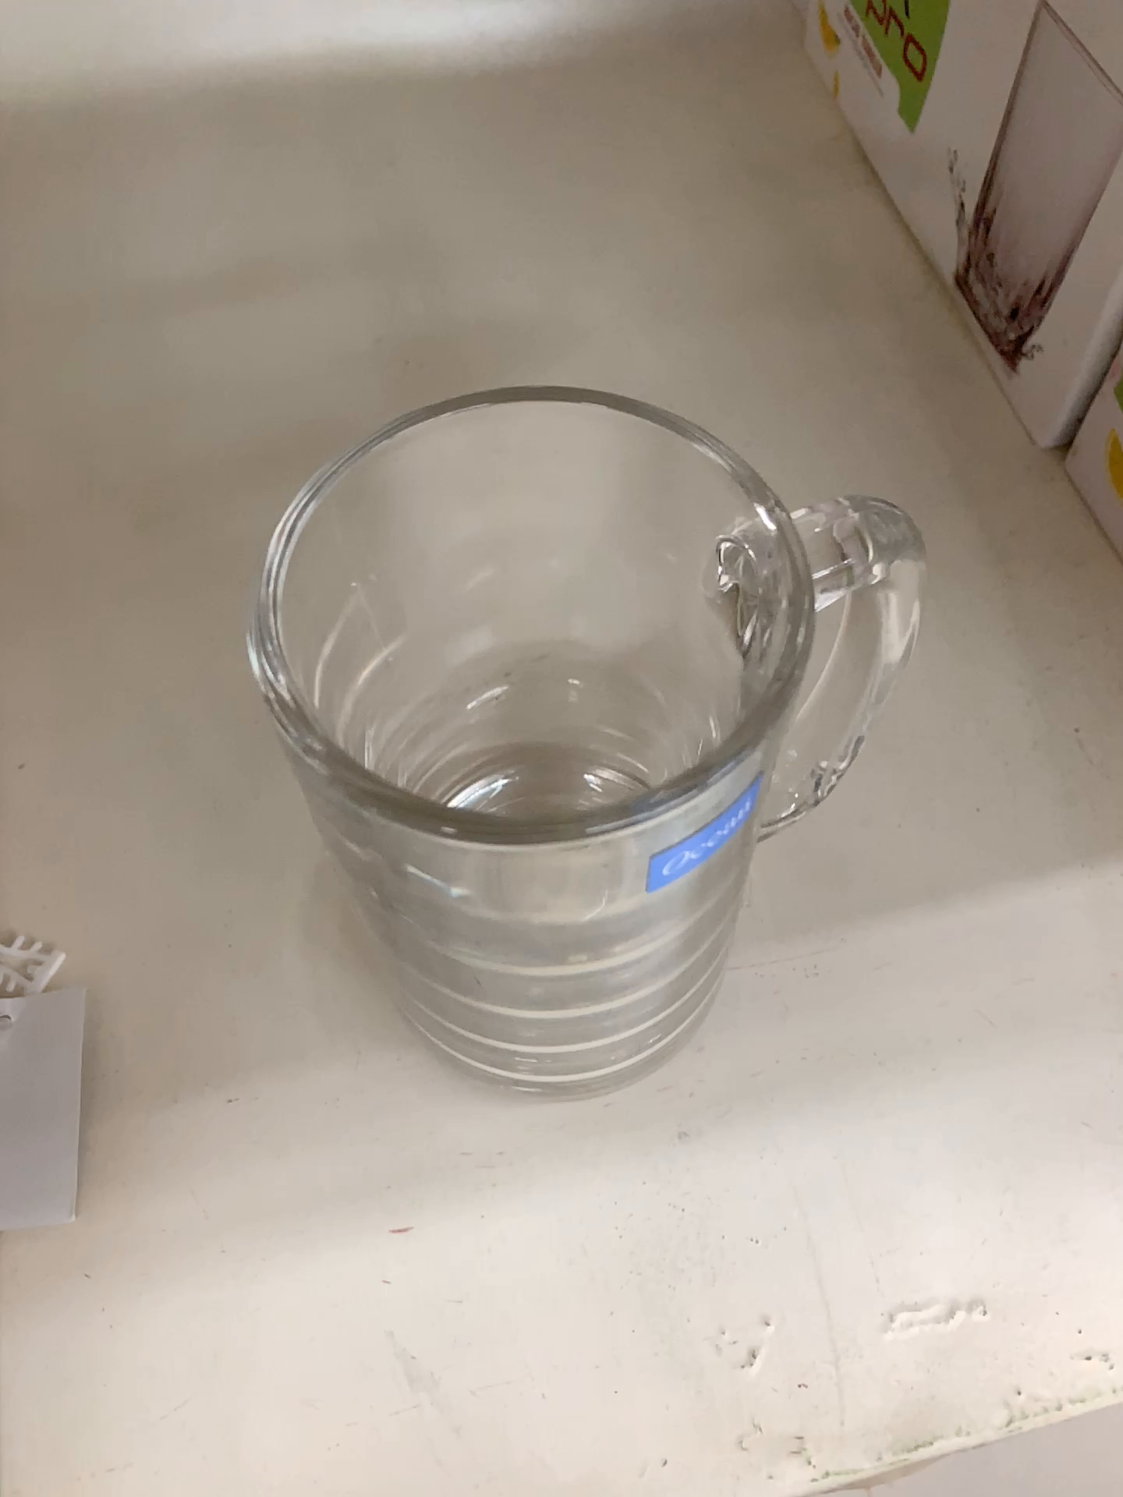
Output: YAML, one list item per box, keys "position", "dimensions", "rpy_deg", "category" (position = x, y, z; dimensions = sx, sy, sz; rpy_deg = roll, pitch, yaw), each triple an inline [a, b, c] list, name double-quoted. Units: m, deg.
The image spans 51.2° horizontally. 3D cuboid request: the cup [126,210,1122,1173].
- position: [0.011, 0.001, 0.209]
  dimensions: [0.111, 0.128, 0.076]
  rpy_deg: [-29, 64, -13]
  category: "cup"
